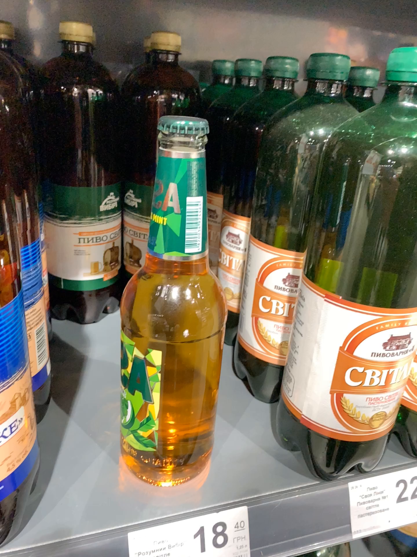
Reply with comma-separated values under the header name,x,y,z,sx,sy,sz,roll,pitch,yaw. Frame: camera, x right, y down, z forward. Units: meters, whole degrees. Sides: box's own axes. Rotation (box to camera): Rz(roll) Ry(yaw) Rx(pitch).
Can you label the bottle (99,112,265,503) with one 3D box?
name,x,y,z,sx,sy,sz,roll,pitch,yaw
bottle,-0.026,0.022,0.286,0.066,0.238,0.072,4,24,-2
